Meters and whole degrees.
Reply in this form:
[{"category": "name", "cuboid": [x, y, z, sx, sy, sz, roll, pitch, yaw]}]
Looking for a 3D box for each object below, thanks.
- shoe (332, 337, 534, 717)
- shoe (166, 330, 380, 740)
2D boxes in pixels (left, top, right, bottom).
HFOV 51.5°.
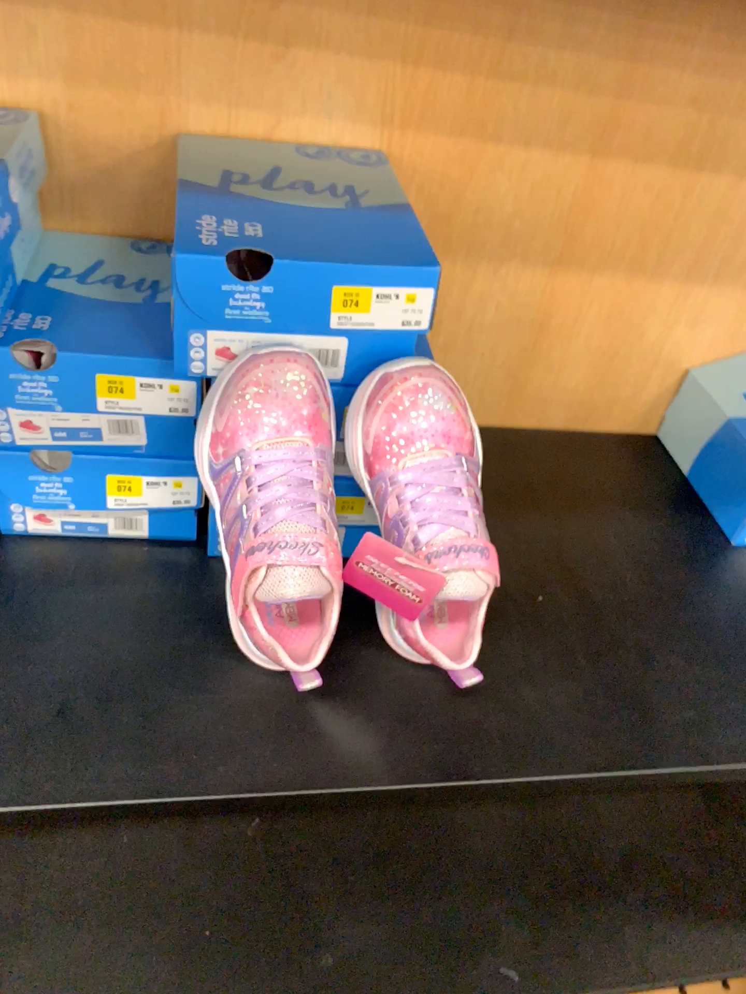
[{"category": "shoe", "cuboid": [0.037, 0.016, 0.464, 0.090, 0.199, 0.080, -10, 23, -11]}, {"category": "shoe", "cuboid": [-0.053, 0.020, 0.441, 0.090, 0.209, 0.080, -7, 21, -8]}]
